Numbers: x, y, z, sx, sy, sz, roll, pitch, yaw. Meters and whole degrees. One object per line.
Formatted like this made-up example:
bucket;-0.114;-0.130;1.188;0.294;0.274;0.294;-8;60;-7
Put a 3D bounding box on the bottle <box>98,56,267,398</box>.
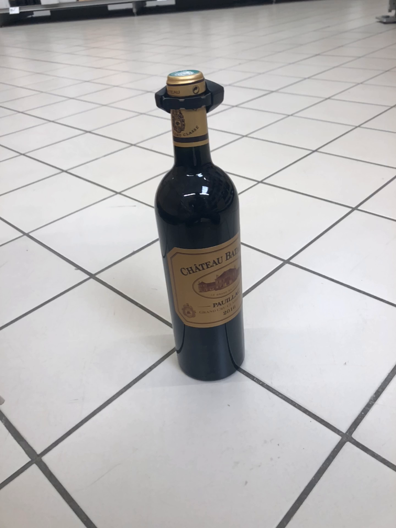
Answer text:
bottle;-0.002;-0.023;0.403;0.090;0.288;0.090;-4;34;2
